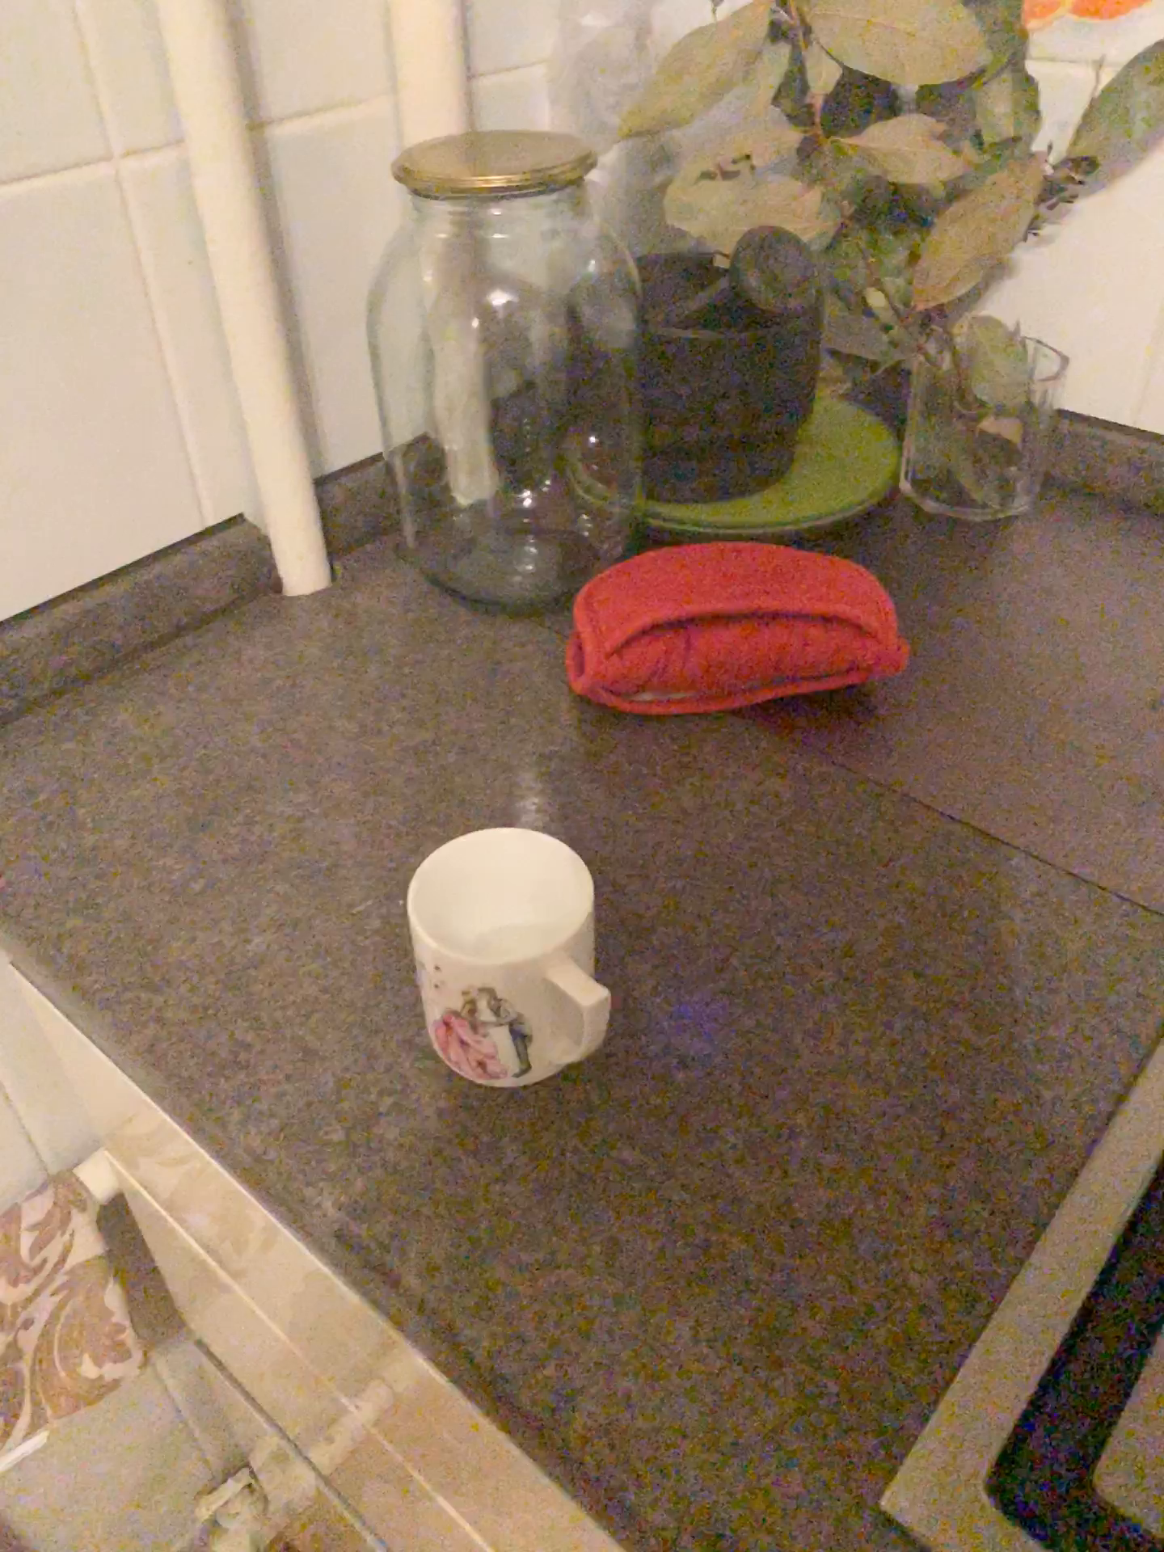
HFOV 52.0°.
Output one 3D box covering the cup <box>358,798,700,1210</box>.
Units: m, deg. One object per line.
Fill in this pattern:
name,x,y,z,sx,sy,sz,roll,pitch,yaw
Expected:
cup,-0.017,0.068,0.376,0.060,0.069,0.091,-27,45,-28
